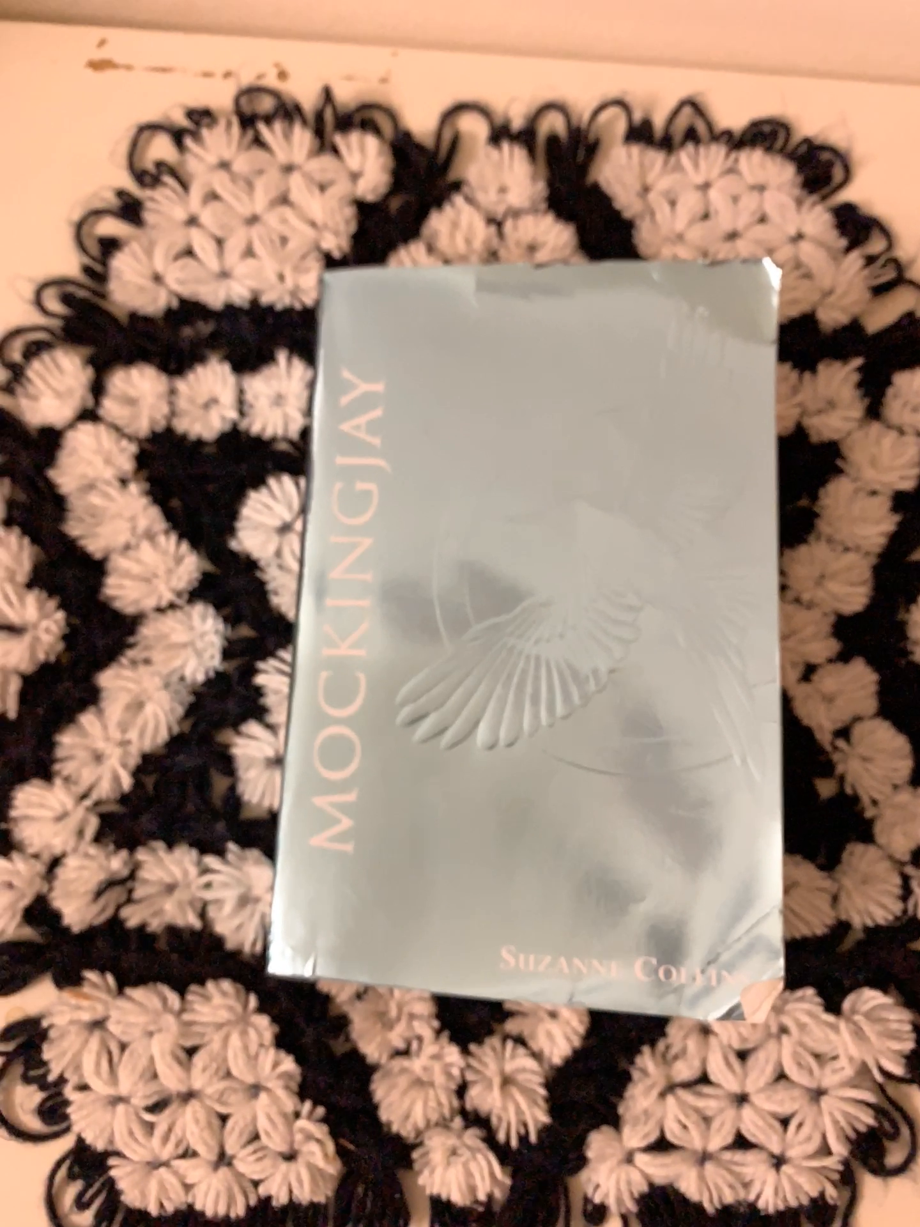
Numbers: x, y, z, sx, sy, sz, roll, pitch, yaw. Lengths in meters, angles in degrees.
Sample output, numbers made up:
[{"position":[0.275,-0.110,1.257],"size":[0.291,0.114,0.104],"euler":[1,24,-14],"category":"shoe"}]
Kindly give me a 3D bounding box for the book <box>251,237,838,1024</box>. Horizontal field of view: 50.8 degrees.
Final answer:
[{"position":[0.023,0.000,0.259],"size":[0.136,0.036,0.193],"euler":[2,80,0],"category":"book"}]
